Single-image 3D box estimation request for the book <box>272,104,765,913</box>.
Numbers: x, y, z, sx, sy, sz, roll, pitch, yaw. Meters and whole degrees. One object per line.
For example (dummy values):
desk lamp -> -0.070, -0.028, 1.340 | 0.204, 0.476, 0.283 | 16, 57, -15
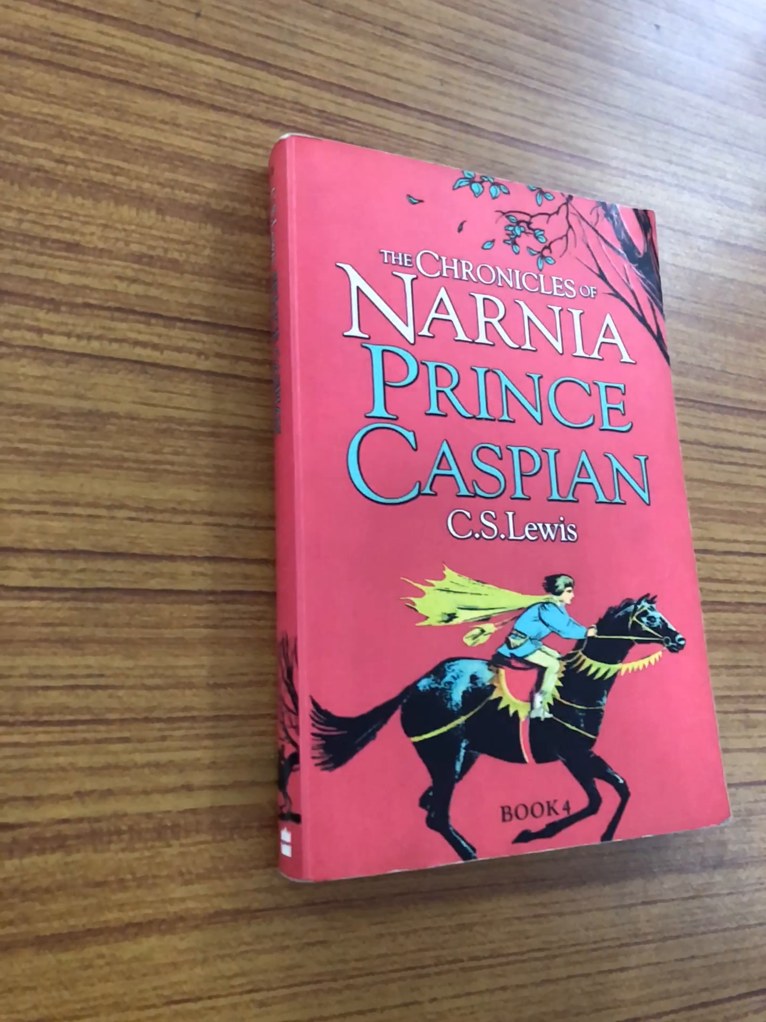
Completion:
book -> 0.038, -0.003, 0.237 | 0.130, 0.030, 0.190 | 3, 77, -24
